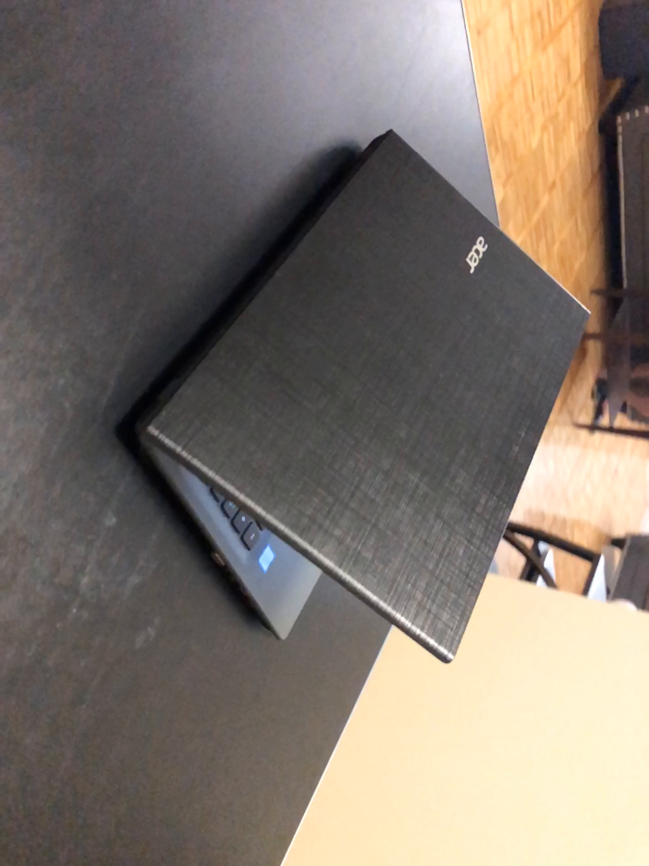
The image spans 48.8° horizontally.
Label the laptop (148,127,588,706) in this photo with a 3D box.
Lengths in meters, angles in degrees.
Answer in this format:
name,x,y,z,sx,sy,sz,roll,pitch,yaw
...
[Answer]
name,x,y,z,sx,sy,sz,roll,pitch,yaw
laptop,0.079,-0.029,0.577,0.369,0.155,0.252,-58,141,-32
